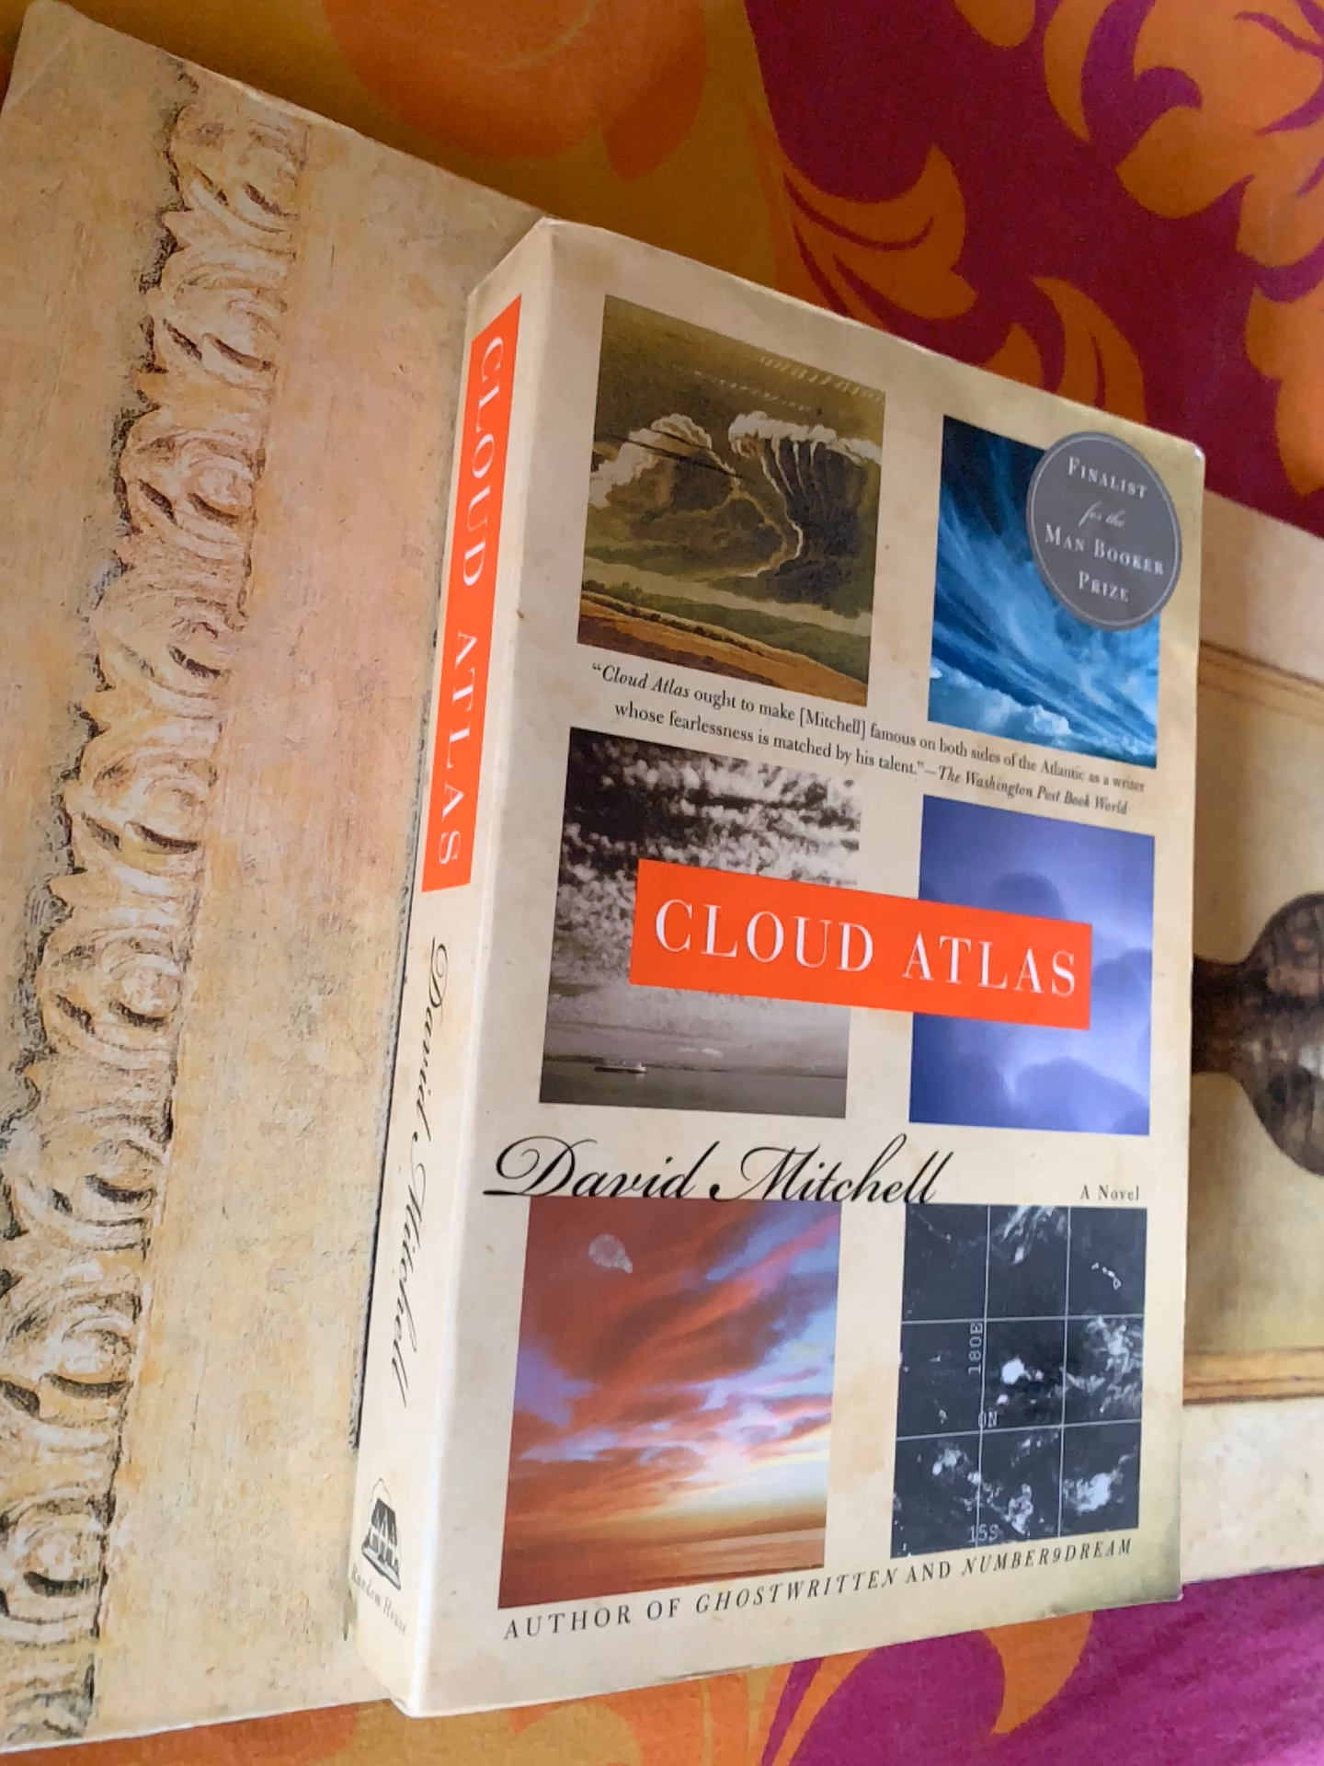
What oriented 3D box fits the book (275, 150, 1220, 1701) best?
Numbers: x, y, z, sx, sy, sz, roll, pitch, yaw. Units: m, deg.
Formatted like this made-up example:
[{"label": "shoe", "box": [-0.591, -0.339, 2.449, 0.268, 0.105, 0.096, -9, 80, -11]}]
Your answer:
[{"label": "book", "box": [0.021, 0.008, 0.214, 0.130, 0.040, 0.190, 8, 81, -25]}]
